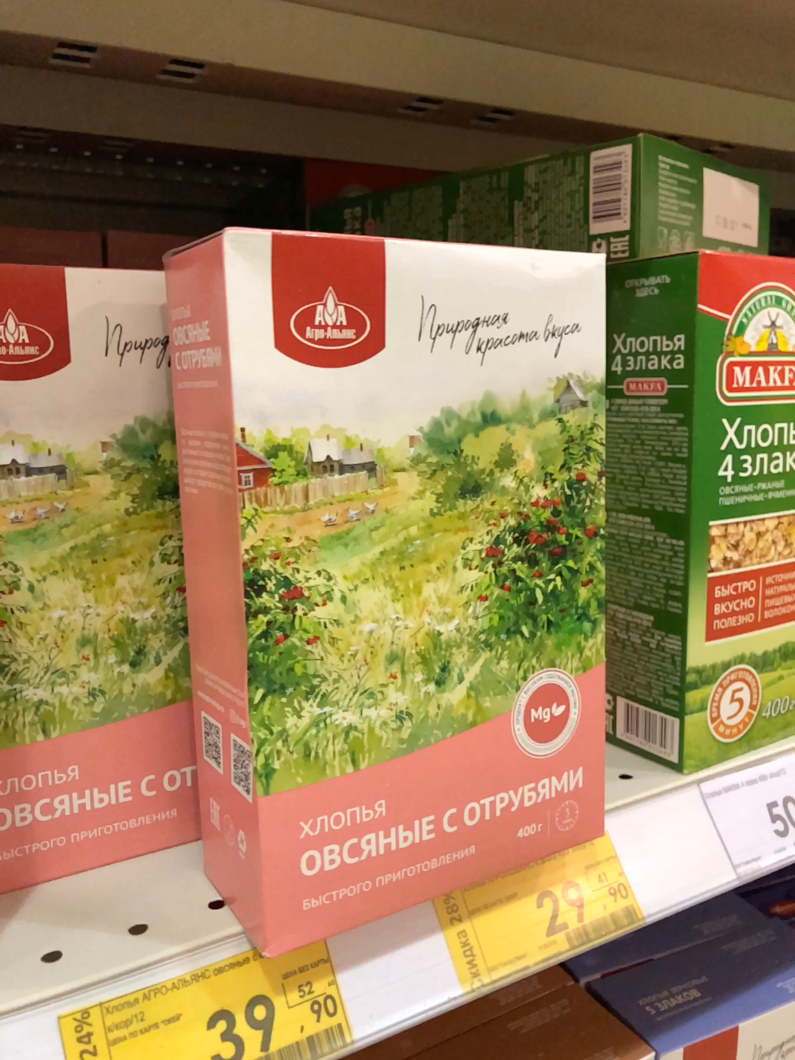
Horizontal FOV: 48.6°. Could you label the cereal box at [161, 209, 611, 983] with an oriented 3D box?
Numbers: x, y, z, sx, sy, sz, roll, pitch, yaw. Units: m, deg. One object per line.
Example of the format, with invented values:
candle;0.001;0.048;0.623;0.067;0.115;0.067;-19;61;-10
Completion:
cereal box;0.001;0.014;0.292;0.130;0.210;0.060;-6;9;-30
